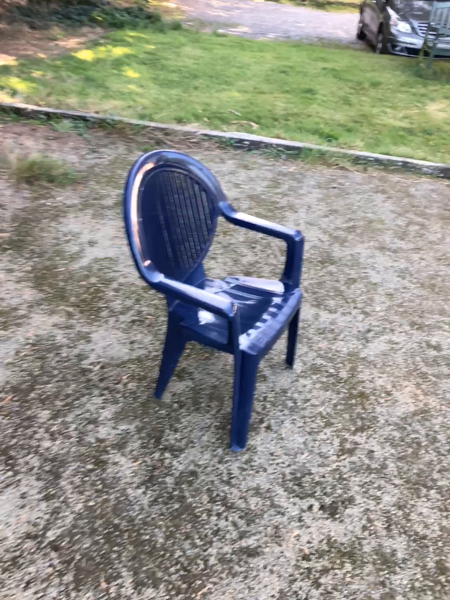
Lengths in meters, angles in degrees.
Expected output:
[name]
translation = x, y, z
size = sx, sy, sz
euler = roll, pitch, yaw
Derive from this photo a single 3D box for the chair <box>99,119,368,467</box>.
[chair]
translation = 0.025, -0.041, 1.645
size = 0.570, 0.854, 0.594
euler = 20, 39, 18
